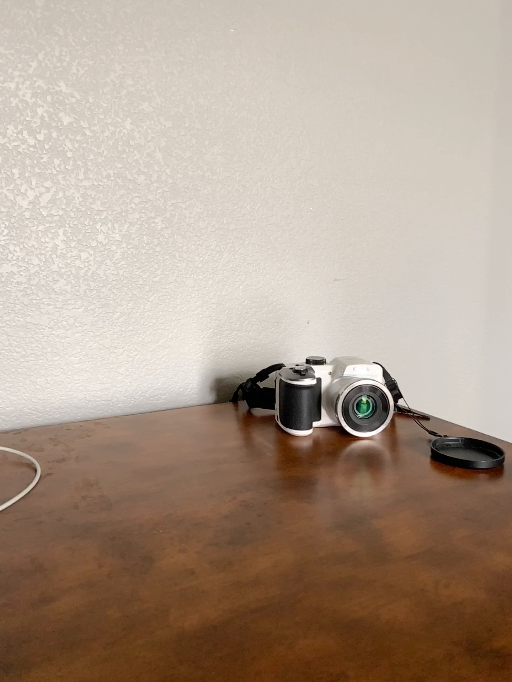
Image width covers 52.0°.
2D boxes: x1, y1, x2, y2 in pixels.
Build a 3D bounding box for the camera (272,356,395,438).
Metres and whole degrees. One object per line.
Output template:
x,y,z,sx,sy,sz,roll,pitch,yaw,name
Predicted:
0.079,0.058,0.566,0.119,0.071,0.070,0,7,-1,camera
